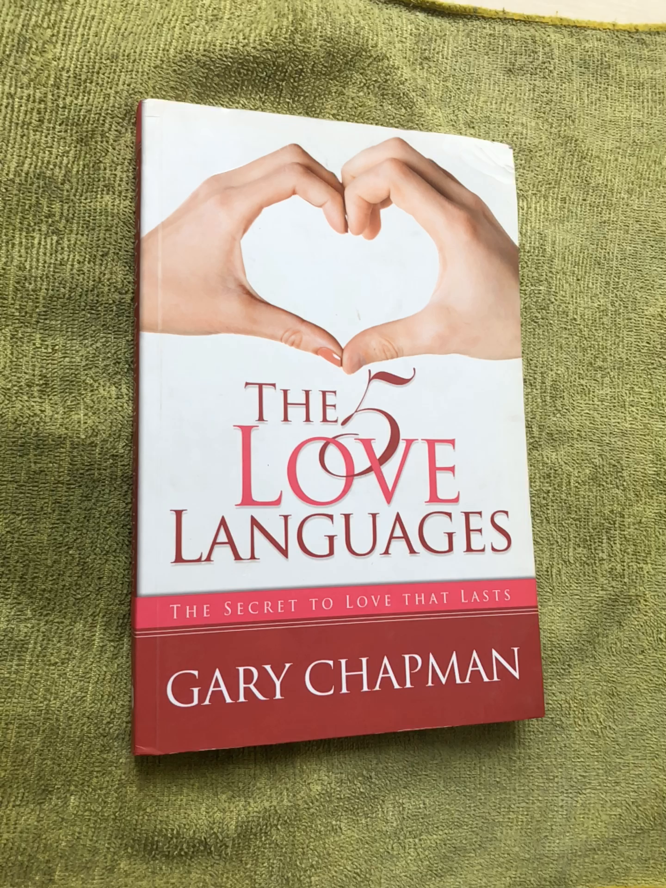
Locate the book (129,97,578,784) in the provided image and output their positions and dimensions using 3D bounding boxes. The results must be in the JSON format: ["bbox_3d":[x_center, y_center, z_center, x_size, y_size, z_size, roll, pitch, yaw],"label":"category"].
[{"bbox_3d":[0.005,-0.005,0.247,0.140,0.030,0.200,0,83,-16],"label":"book"}]
